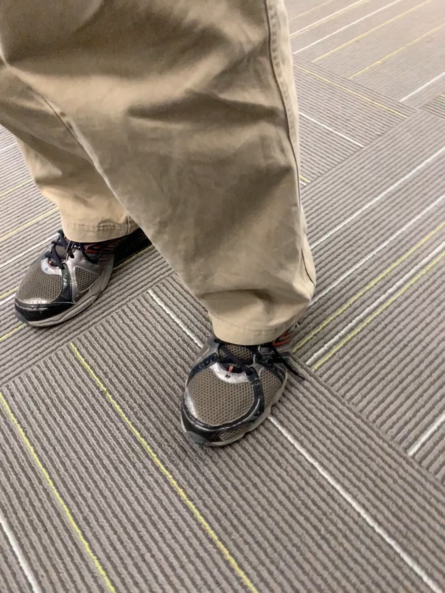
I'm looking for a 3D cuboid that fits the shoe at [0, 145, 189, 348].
[{"bbox_3d":[-0.207,-0.093,0.706,0.135,0.087,0.328,26,59,22],"label":"shoe"}]

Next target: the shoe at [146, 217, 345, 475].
[{"bbox_3d":[0.046,0.046,0.598,0.131,0.087,0.316,19,56,18],"label":"shoe"}]
